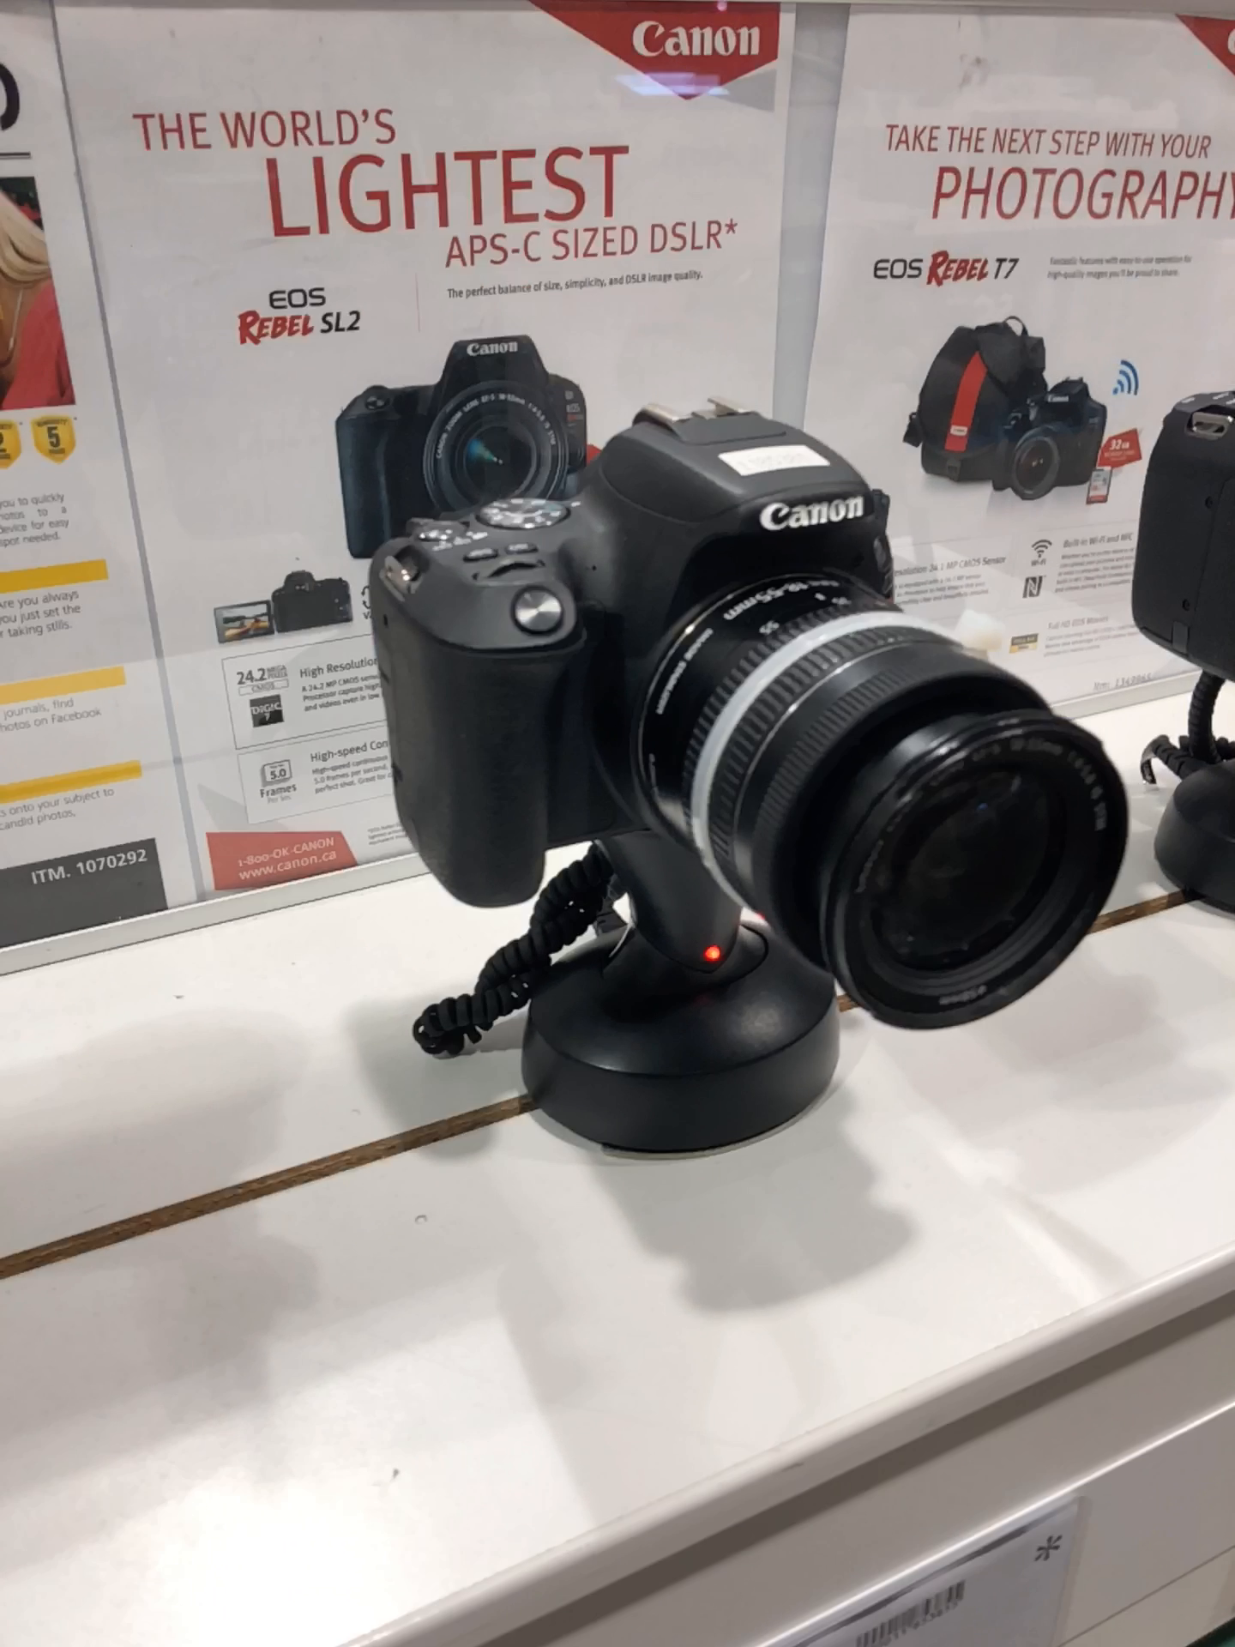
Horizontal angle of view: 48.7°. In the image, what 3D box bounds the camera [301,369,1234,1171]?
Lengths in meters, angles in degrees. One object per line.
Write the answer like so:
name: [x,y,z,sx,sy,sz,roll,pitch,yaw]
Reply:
camera: [0.025,-0.029,0.276,0.130,0.090,0.140,-14,31,-24]
